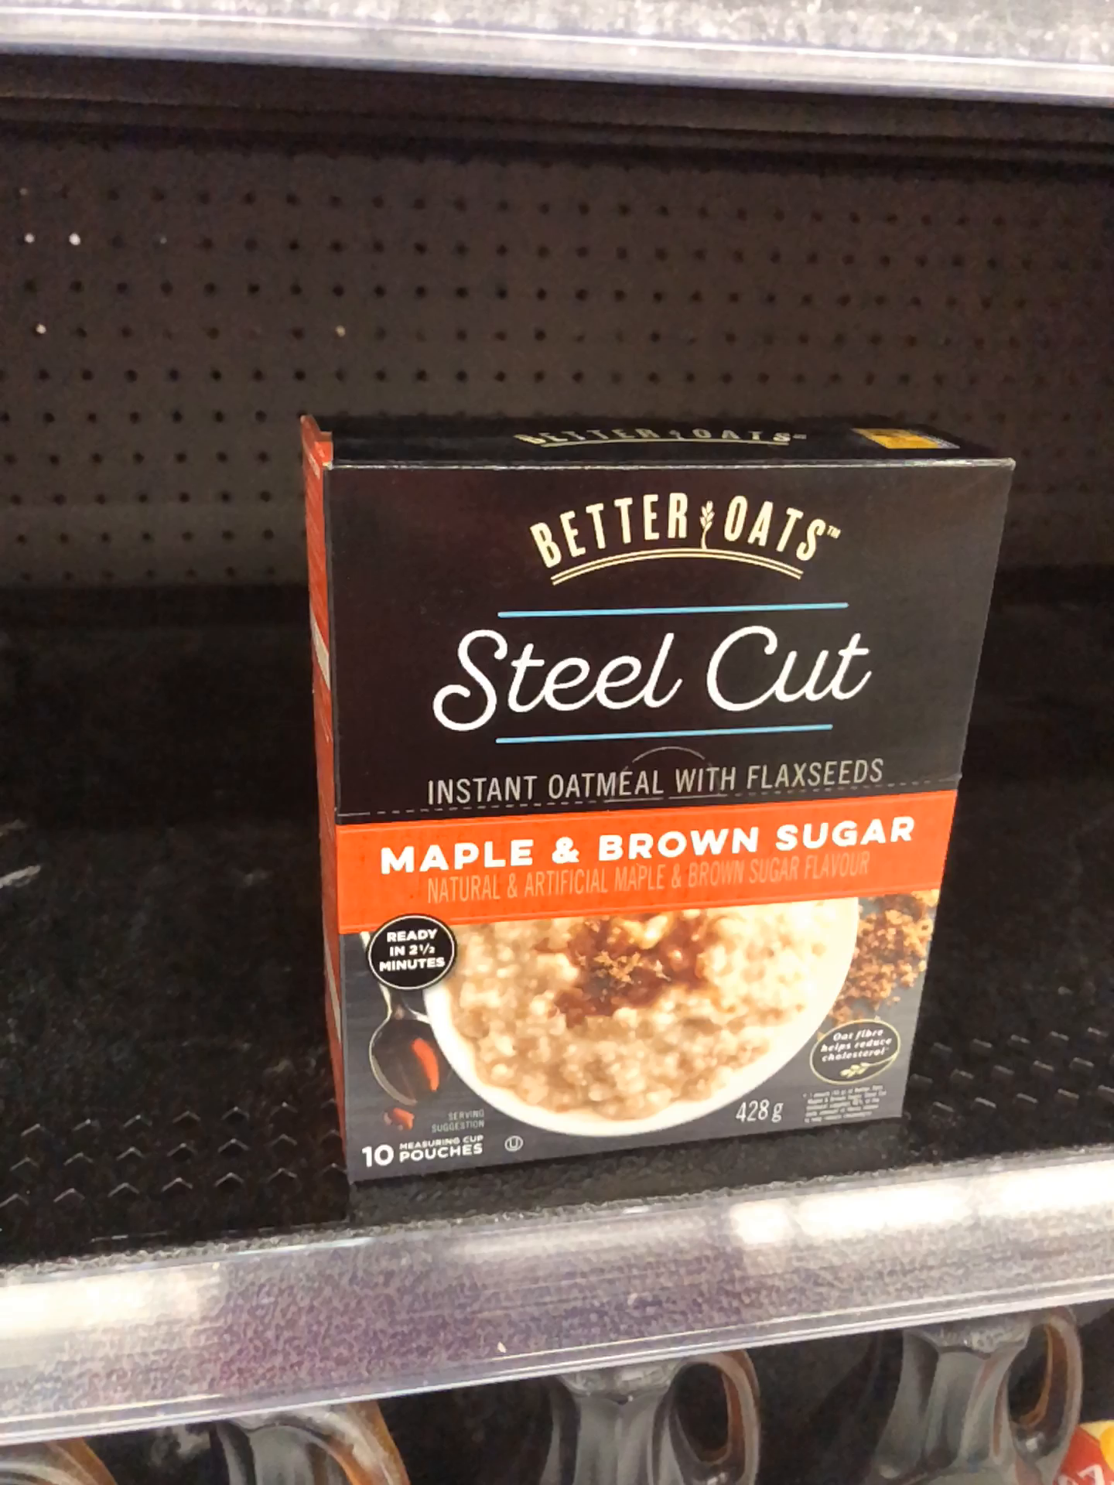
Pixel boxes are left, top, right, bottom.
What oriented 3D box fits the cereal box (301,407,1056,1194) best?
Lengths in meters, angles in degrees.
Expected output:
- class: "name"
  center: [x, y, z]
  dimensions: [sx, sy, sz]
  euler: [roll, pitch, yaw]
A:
- class: "cereal box"
  center: [0.021, 0.011, 0.322]
  dimensions: [0.160, 0.179, 0.070]
  euler: [-3, 23, -12]
